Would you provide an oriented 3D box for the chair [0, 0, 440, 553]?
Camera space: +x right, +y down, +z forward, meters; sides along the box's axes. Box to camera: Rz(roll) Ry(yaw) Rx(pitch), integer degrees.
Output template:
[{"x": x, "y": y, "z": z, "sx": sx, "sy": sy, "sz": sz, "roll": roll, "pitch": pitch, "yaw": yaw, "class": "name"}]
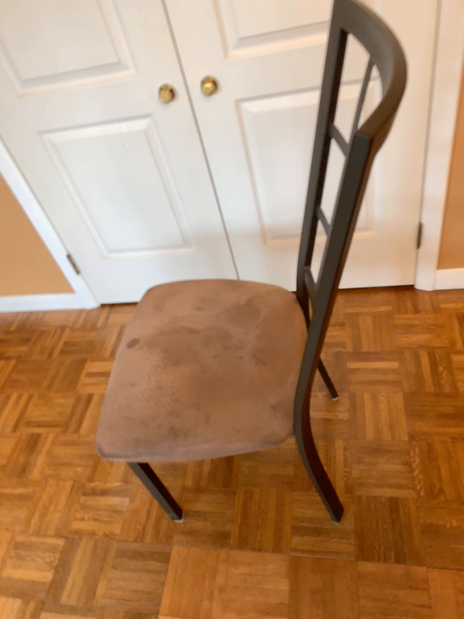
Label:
[{"x": -0.040, "y": 0.024, "z": 0.931, "sx": 0.621, "sy": 0.984, "sz": 0.513, "roll": -1, "pitch": 46, "yaw": 12, "class": "chair"}]
